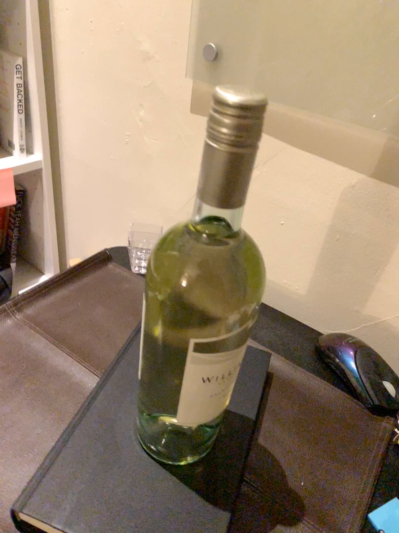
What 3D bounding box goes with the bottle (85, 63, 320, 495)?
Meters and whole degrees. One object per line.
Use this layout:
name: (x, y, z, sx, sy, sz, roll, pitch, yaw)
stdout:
bottle: (-0.011, 0.028, 0.300, 0.090, 0.298, 0.090, 6, 35, -4)
